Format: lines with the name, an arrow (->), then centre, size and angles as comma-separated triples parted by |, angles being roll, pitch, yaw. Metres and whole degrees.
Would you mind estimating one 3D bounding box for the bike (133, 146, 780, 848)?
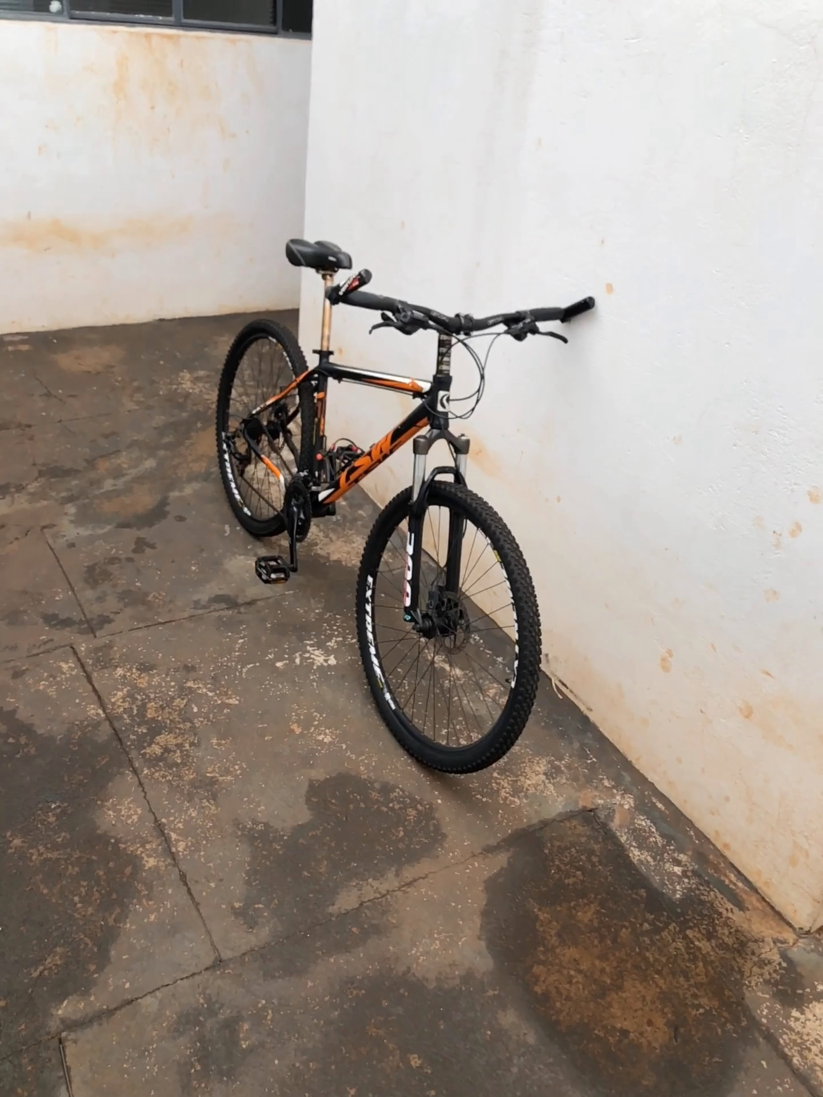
bike -> -0.107, -0.333, 2.459 | 0.723, 1.084, 1.770 | -13, 37, -29
